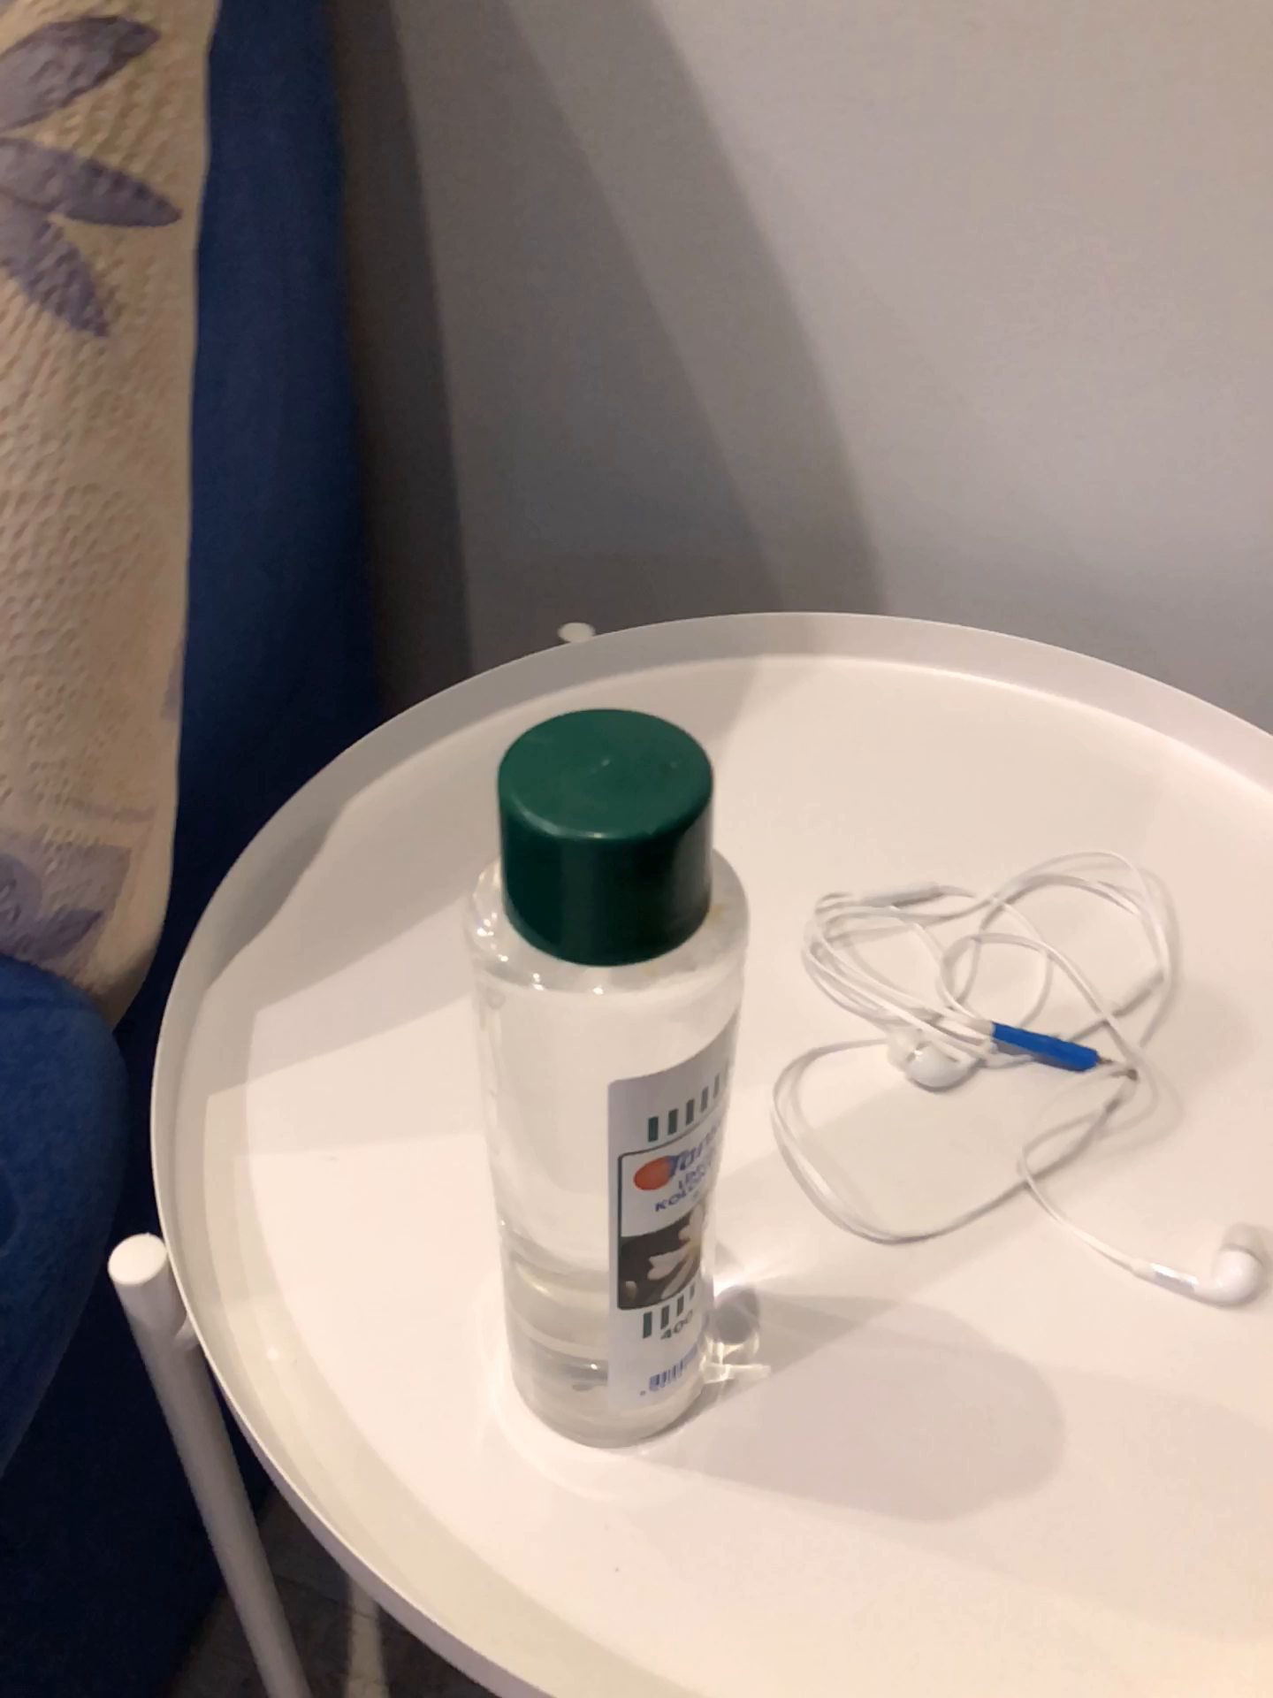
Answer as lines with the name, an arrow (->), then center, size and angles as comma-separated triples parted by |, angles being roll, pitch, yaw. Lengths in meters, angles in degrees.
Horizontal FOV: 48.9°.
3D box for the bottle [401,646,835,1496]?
bottle -> -0.006, 0.060, 0.315 | 0.052, 0.199, 0.059 | -30, 49, -31
